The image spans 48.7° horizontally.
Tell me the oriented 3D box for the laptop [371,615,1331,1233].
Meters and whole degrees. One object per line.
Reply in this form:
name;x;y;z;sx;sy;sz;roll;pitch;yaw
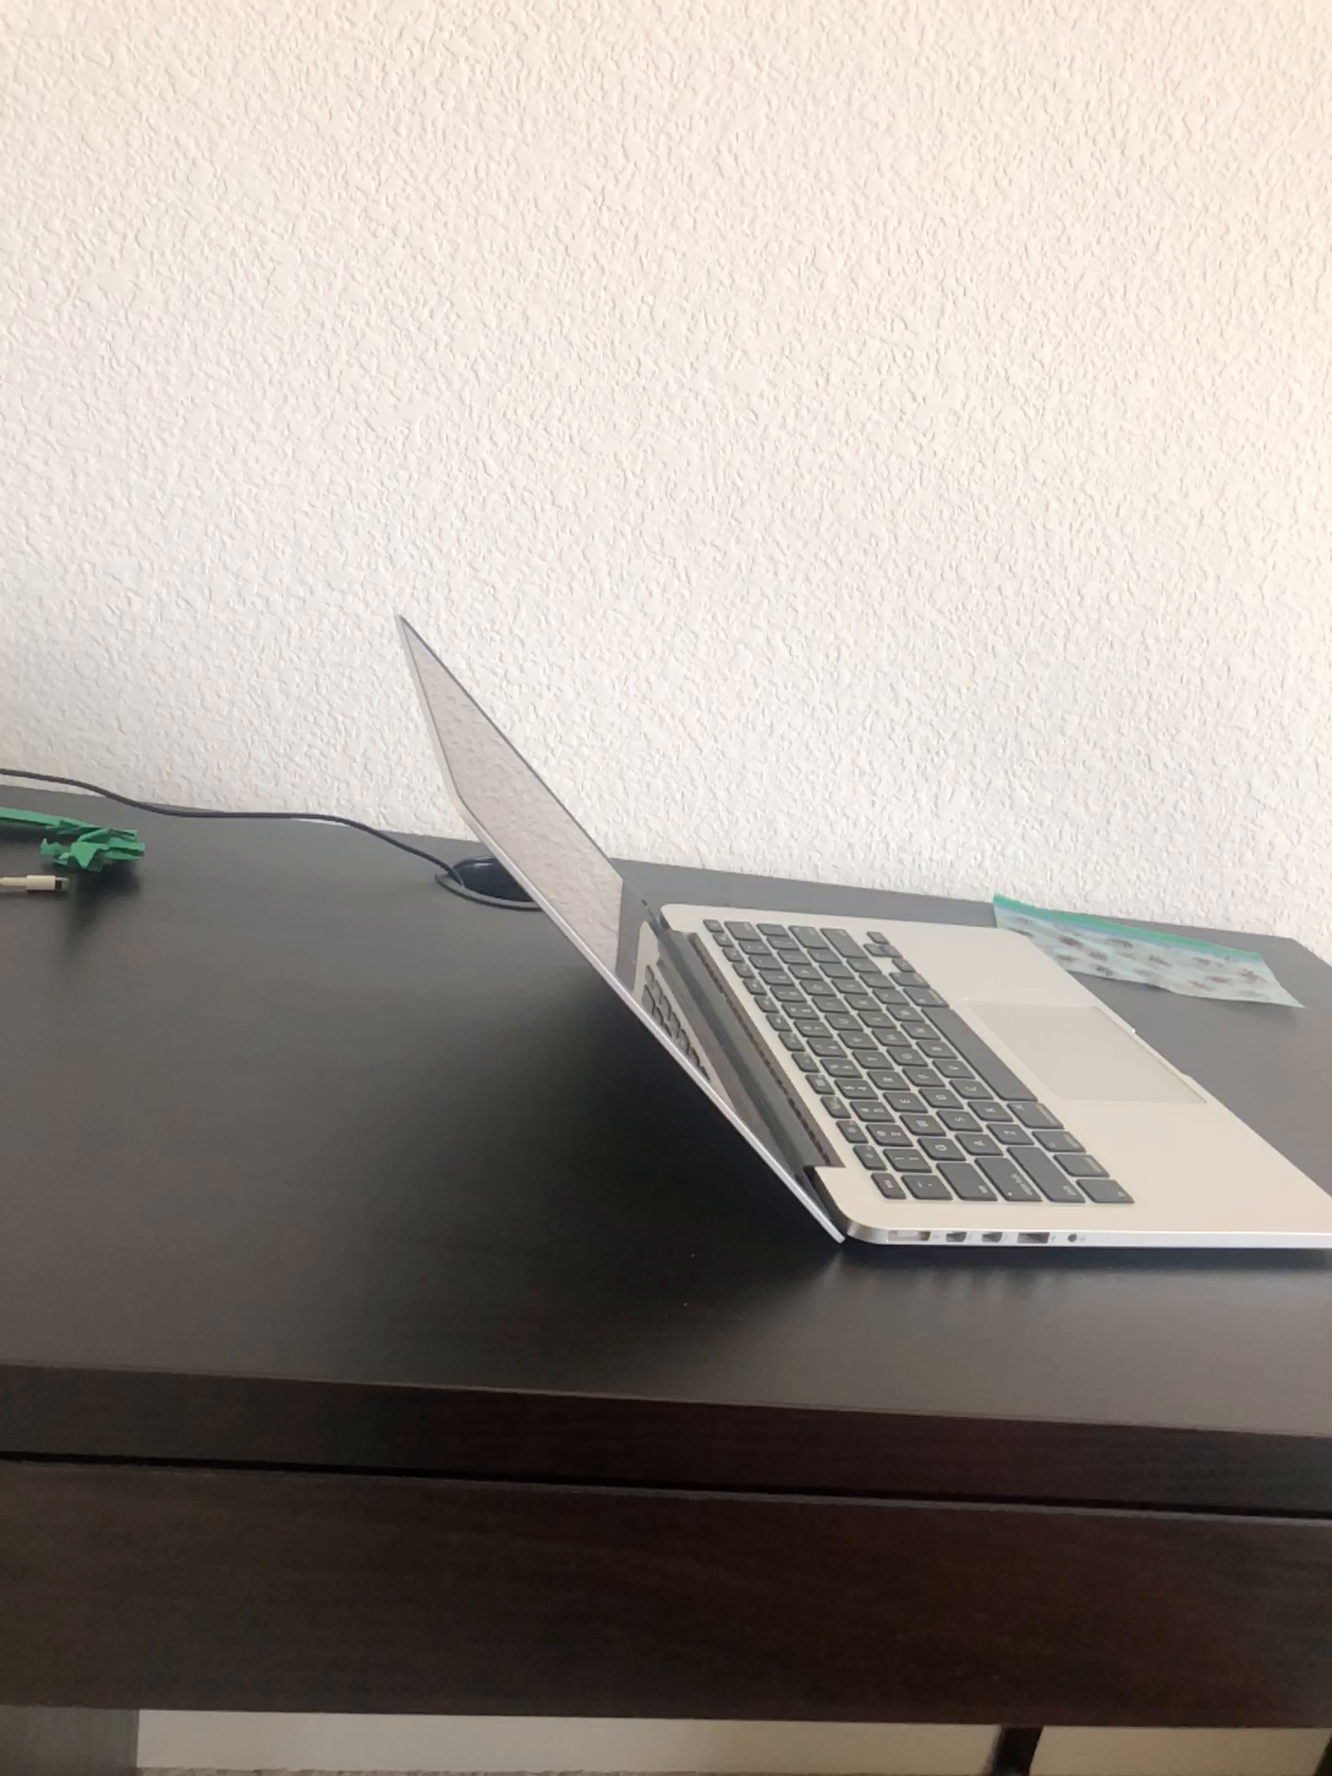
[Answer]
laptop;0.070;0.000;0.636;0.362;0.133;0.309;5;19;-15
